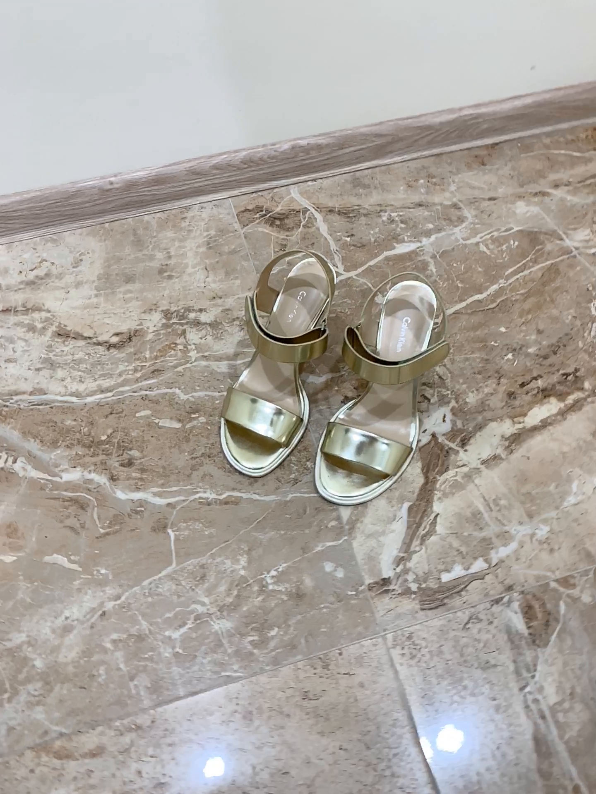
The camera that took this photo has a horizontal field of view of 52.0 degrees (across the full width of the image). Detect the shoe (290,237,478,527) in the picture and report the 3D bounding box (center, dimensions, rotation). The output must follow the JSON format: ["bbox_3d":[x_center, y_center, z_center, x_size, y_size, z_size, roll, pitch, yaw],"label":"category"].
[{"bbox_3d":[0.082,-0.018,0.579,0.100,0.120,0.231,18,59,11],"label":"shoe"}]

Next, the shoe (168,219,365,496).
[{"bbox_3d":[-0.021,-0.040,0.596,0.095,0.129,0.221,18,59,12],"label":"shoe"}]
